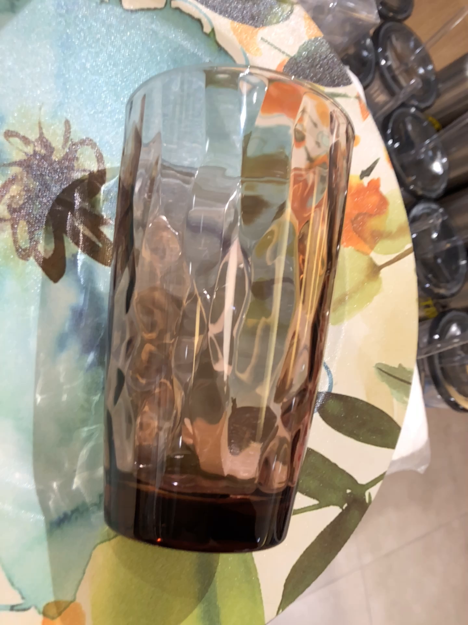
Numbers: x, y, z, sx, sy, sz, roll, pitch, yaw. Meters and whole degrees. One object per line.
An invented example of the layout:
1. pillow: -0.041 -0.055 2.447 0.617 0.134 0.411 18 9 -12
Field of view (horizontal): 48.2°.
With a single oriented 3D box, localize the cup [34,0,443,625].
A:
1. cup: 0.001 0.004 0.173 0.090 0.080 0.150 12 71 -33
